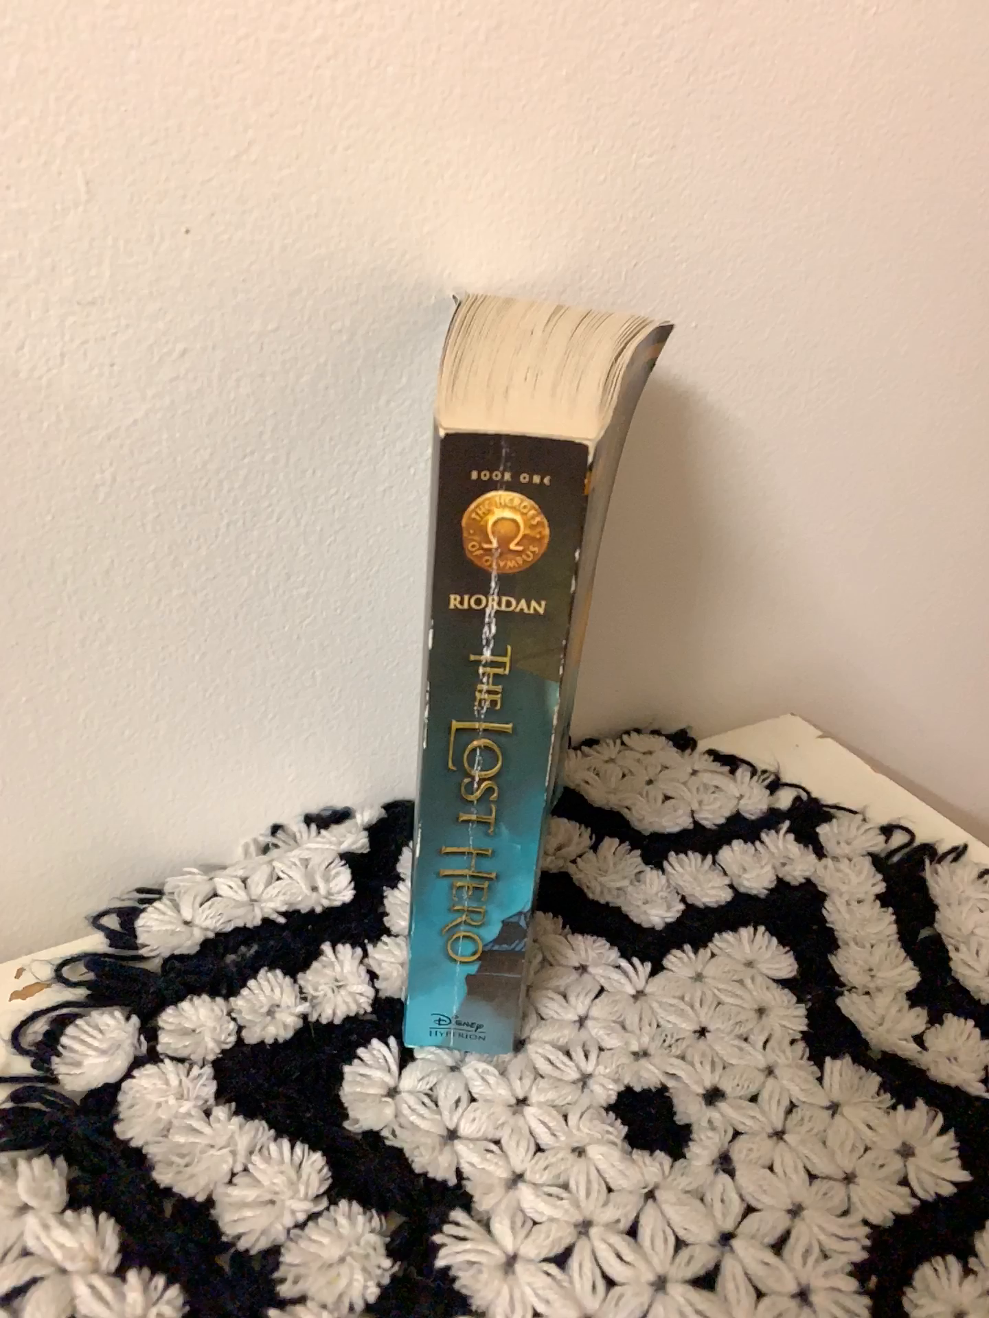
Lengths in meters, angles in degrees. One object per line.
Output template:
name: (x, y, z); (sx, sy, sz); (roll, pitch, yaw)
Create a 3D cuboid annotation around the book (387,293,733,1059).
book: (0.015, -0.003, 0.306); (0.068, 0.177, 0.143); (3, 29, 2)
